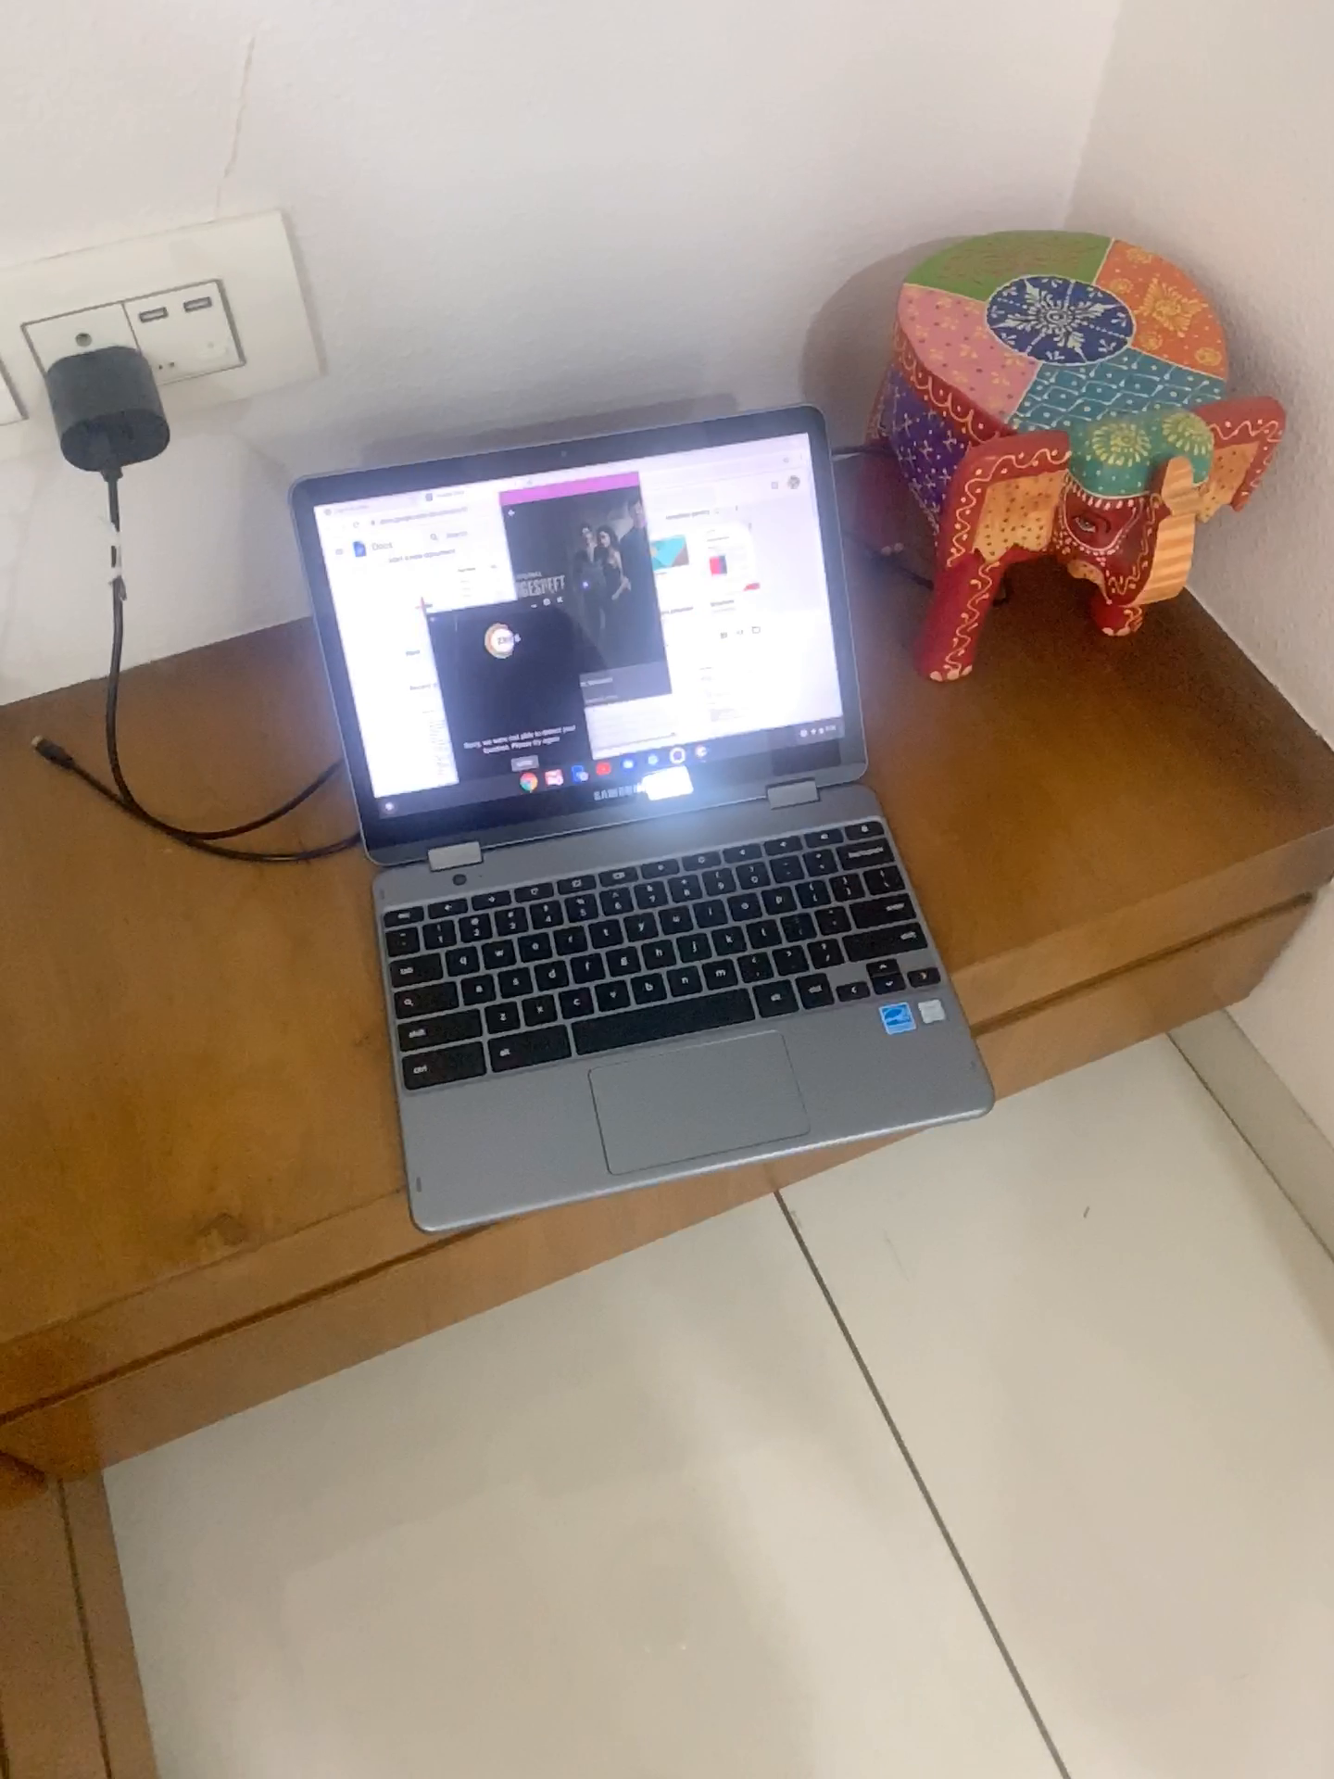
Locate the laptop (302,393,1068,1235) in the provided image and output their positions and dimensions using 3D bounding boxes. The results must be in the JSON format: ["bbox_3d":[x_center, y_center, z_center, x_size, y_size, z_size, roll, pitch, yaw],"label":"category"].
[{"bbox_3d":[-0.014,-0.056,0.759,0.314,0.164,0.384,-11,59,-6],"label":"laptop"}]
